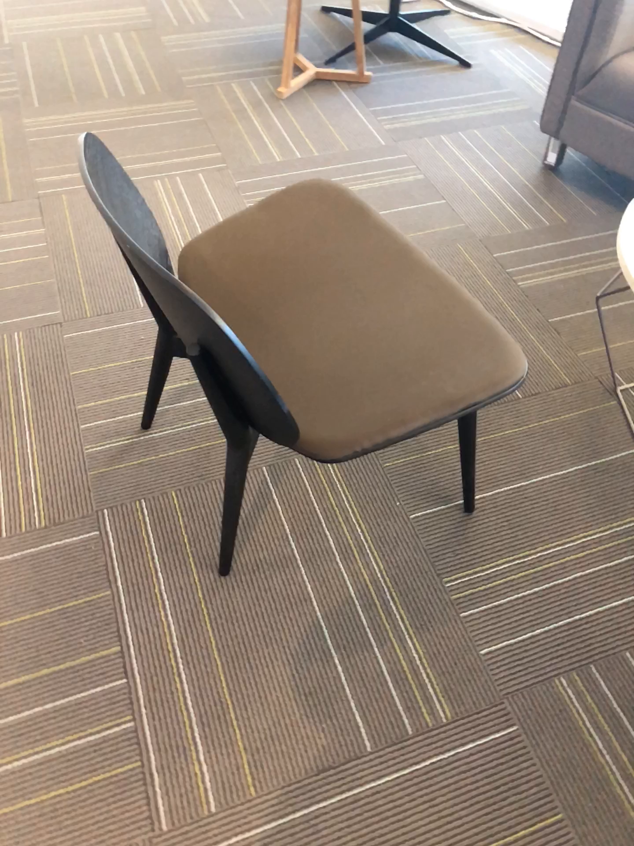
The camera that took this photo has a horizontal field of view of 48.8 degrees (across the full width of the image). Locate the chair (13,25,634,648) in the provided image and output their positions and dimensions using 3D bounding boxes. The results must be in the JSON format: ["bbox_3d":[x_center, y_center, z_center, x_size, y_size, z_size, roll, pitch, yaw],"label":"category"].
[{"bbox_3d":[-0.005,-0.183,1.341,0.740,0.737,0.672,-24,54,-21],"label":"chair"}]
